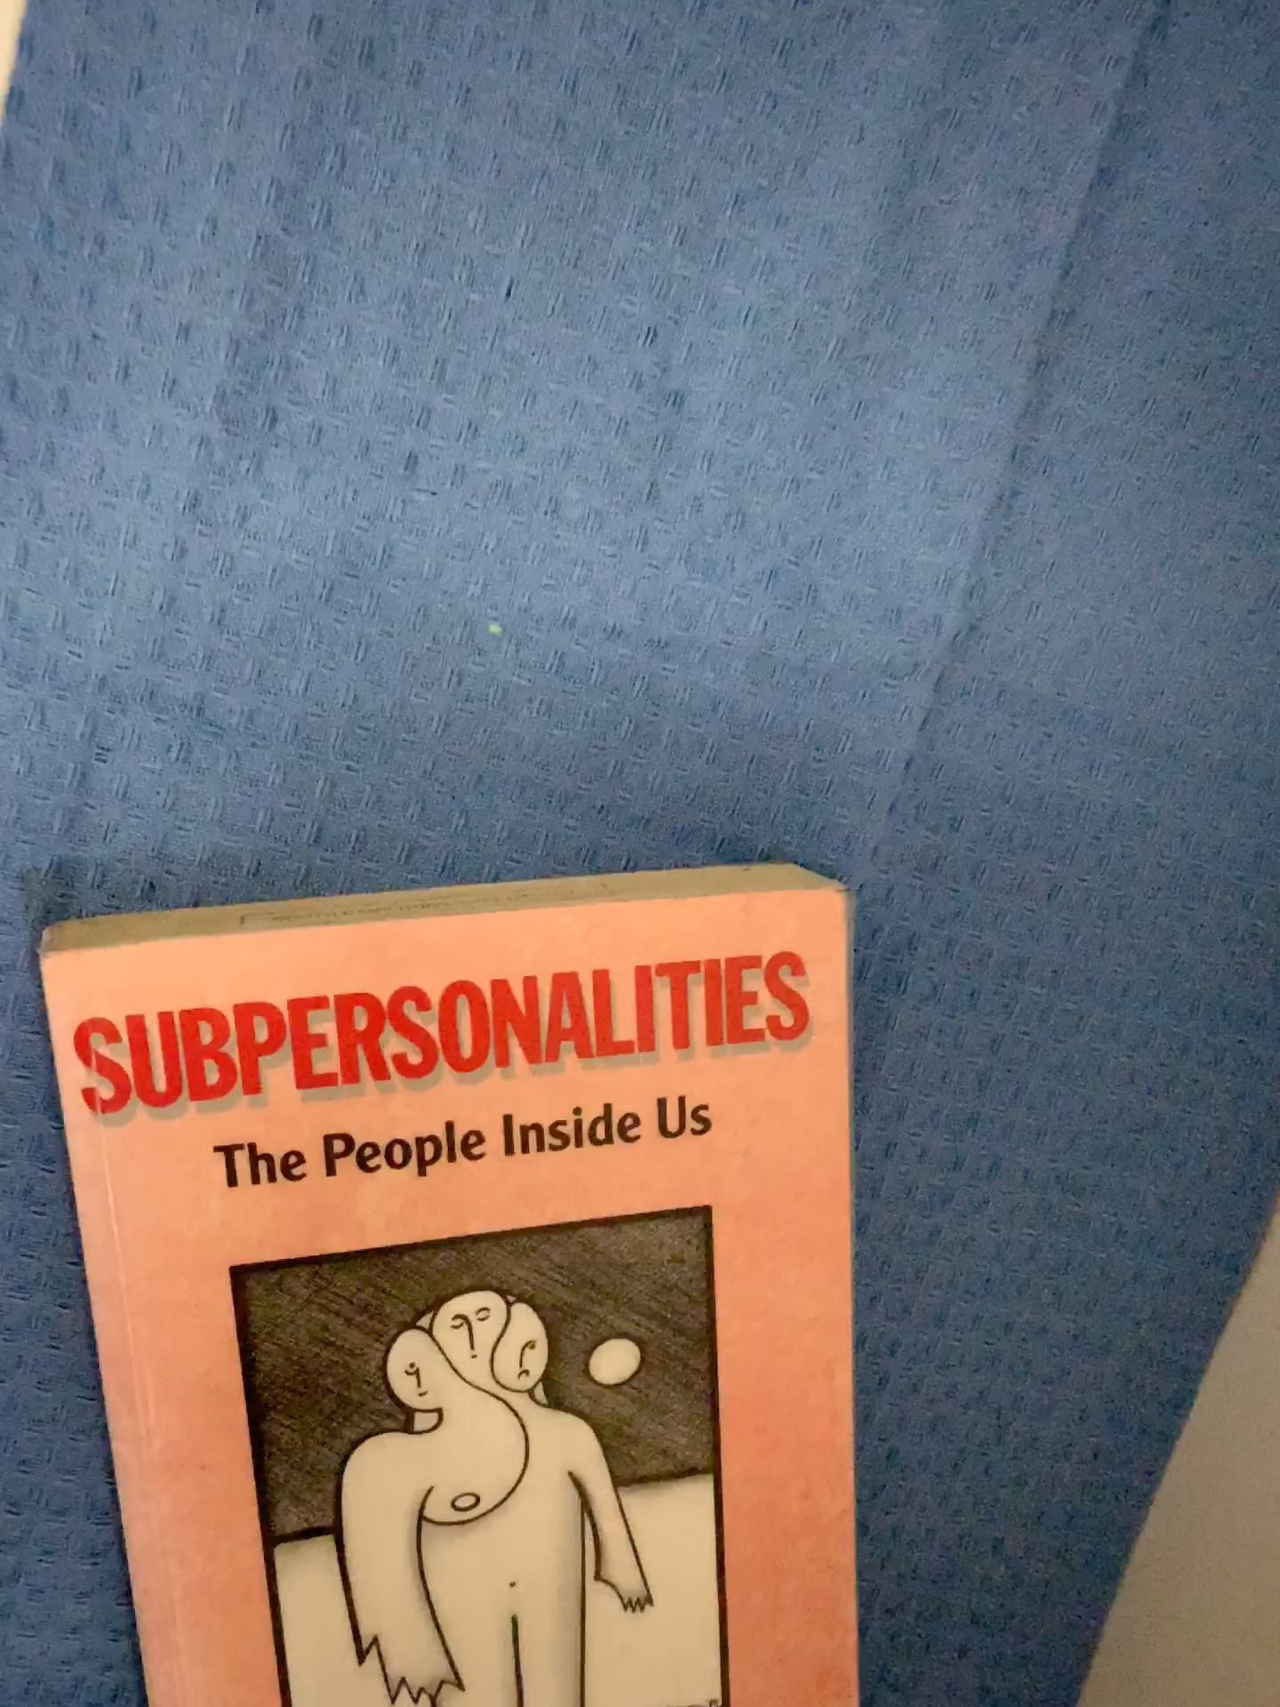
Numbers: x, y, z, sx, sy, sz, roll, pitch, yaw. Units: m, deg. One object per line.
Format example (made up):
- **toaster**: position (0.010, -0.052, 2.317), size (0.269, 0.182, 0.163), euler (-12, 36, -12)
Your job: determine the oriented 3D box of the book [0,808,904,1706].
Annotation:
- **book**: position (-0.032, 0.113, 0.260), size (0.160, 0.040, 0.230), euler (-4, 102, -9)
